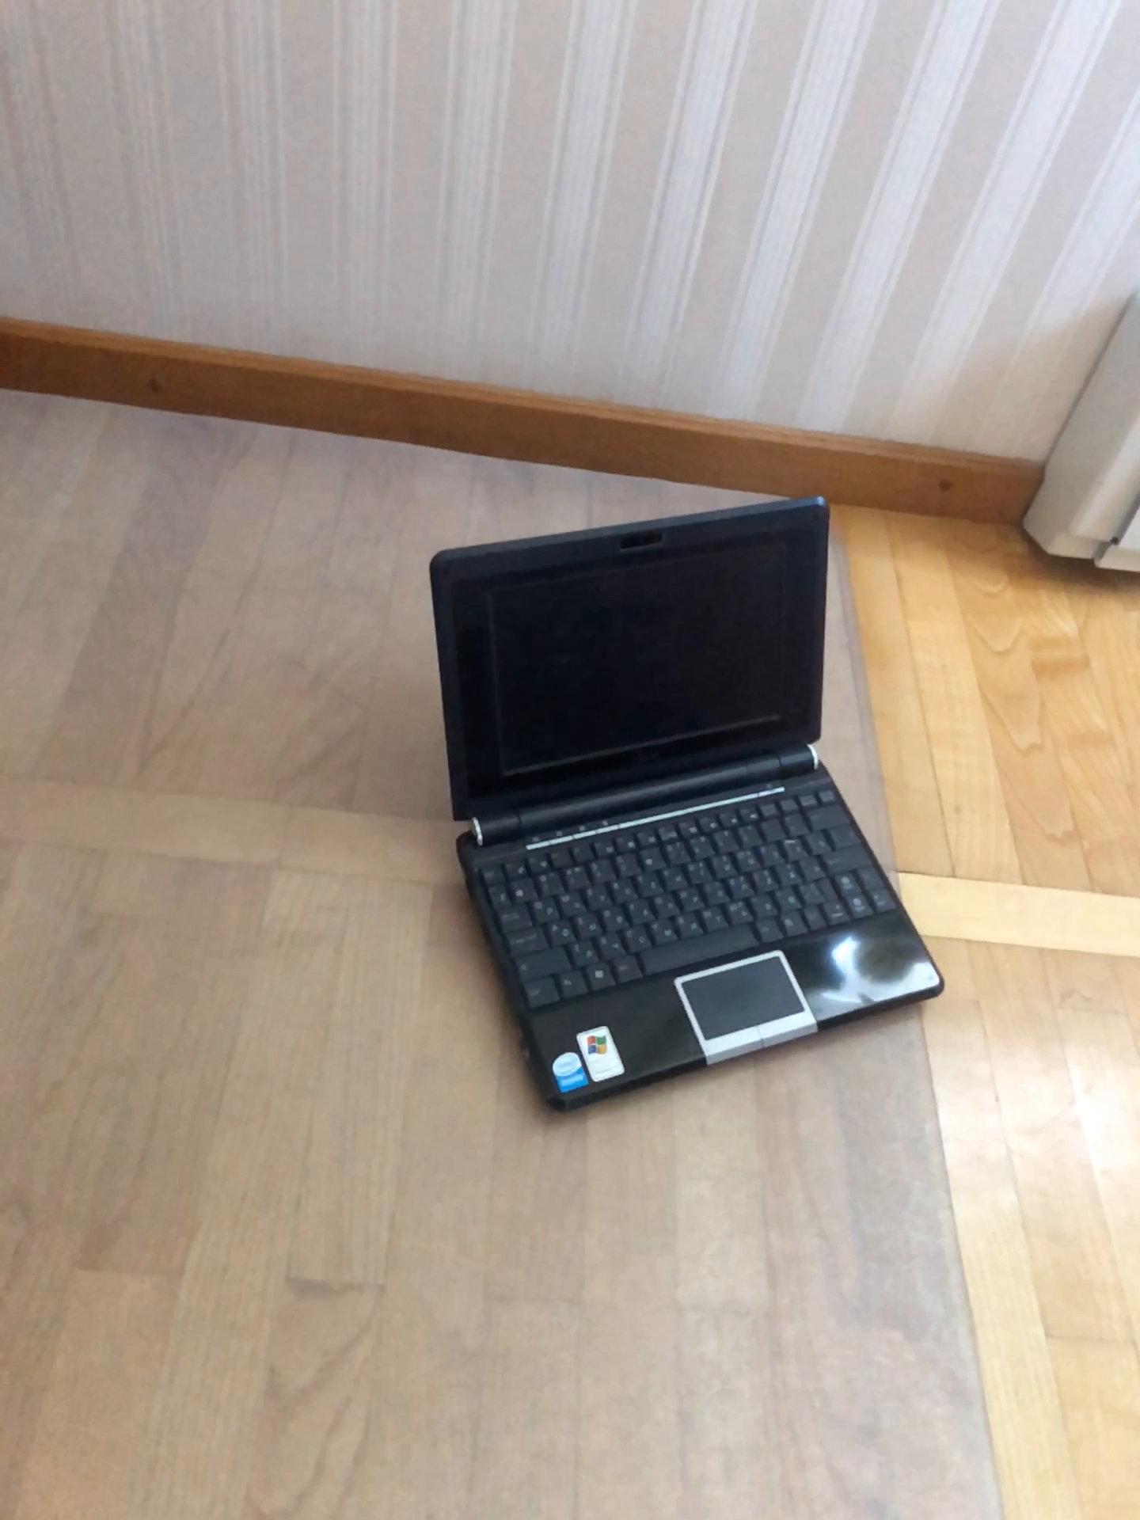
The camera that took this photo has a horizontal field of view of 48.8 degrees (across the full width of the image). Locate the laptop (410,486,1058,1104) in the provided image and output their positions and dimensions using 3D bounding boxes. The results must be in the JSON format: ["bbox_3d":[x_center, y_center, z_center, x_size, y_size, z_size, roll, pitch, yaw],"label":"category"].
[{"bbox_3d":[0.076,0.007,0.751,0.264,0.159,0.277,-11,56,-20],"label":"laptop"}]
